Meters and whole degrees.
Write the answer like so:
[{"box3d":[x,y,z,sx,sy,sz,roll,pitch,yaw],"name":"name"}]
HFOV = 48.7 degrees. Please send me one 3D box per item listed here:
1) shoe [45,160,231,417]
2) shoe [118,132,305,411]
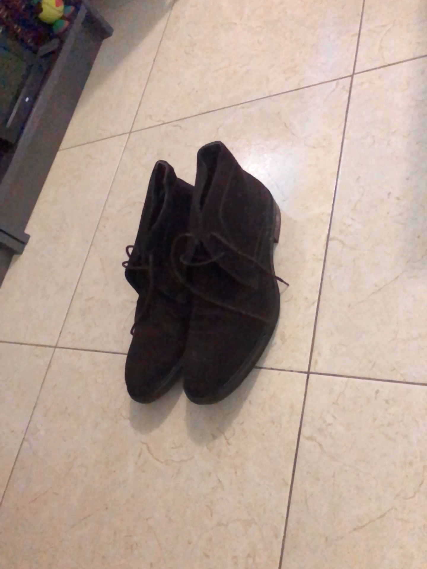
[{"box3d":[-0.088,0.005,0.632,0.110,0.129,0.300,0,66,34],"name":"shoe"},{"box3d":[0.012,-0.015,0.590,0.110,0.139,0.300,0,66,34],"name":"shoe"}]
